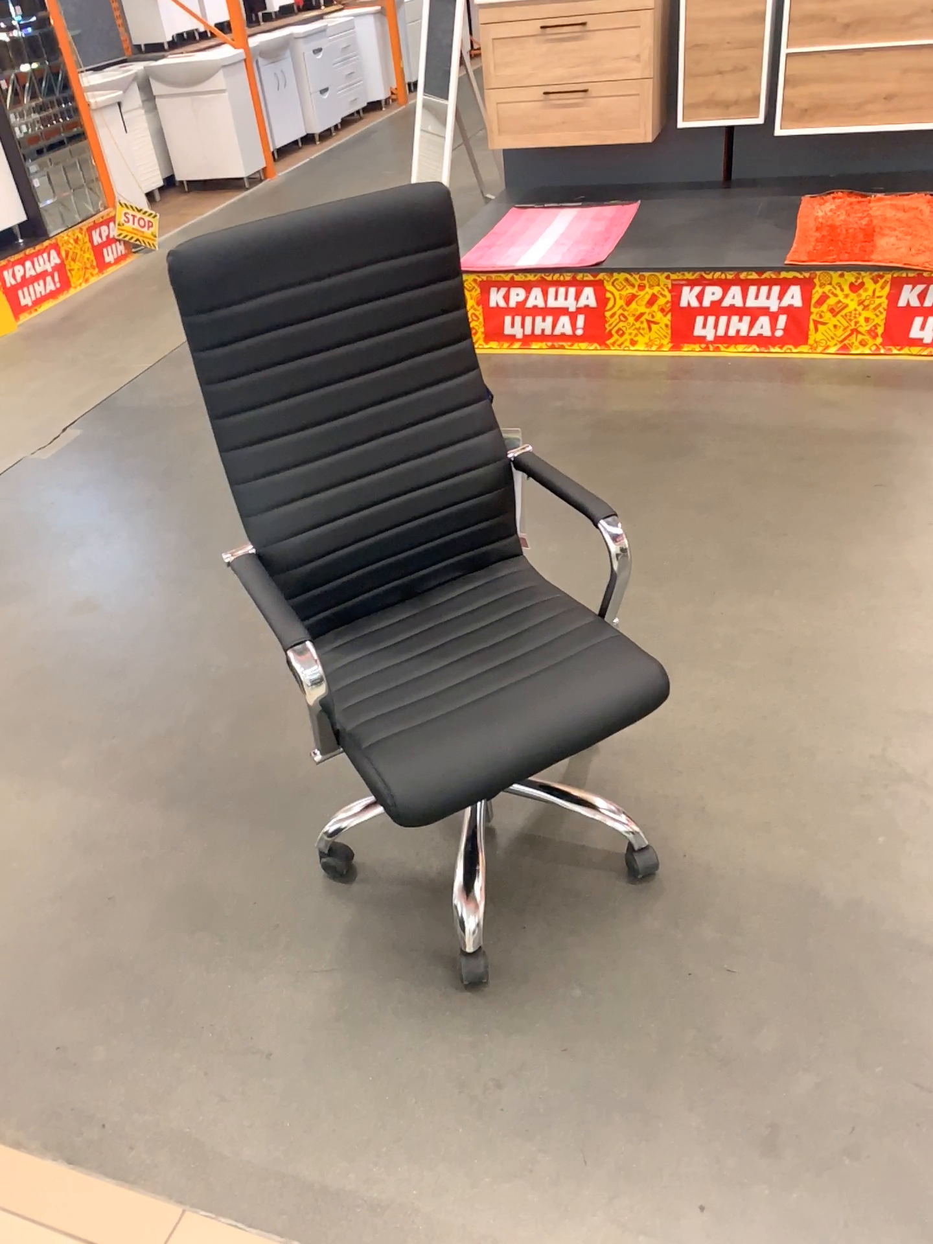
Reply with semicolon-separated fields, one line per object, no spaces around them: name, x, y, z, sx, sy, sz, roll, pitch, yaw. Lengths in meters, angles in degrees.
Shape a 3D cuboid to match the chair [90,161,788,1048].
chair;-0.027;-0.051;1.525;0.650;1.074;0.683;-23;39;-20
